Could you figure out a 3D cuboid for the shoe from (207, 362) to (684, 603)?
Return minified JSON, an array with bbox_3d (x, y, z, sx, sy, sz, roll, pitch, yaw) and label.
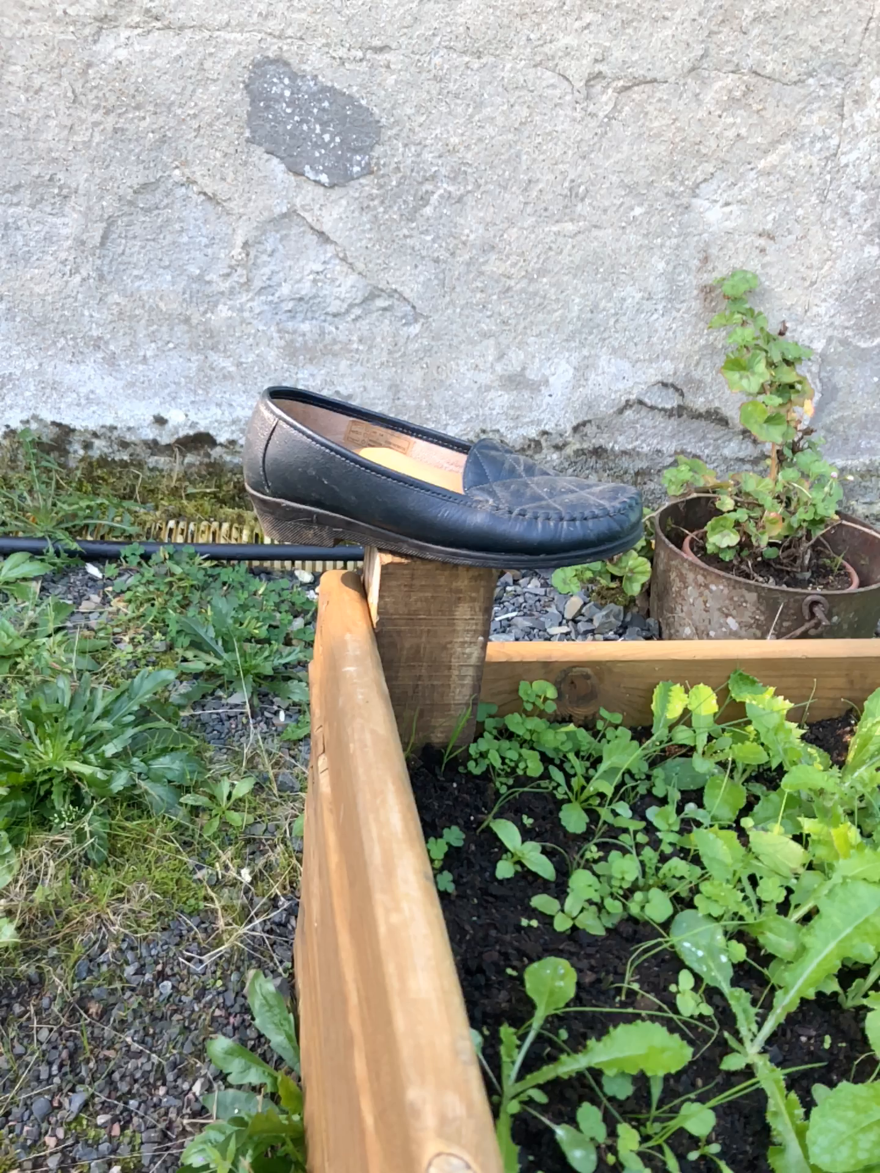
[{"bbox_3d":[0.005,-0.070,0.581,0.260,0.090,0.101,8,27,15],"label":"shoe"}]
